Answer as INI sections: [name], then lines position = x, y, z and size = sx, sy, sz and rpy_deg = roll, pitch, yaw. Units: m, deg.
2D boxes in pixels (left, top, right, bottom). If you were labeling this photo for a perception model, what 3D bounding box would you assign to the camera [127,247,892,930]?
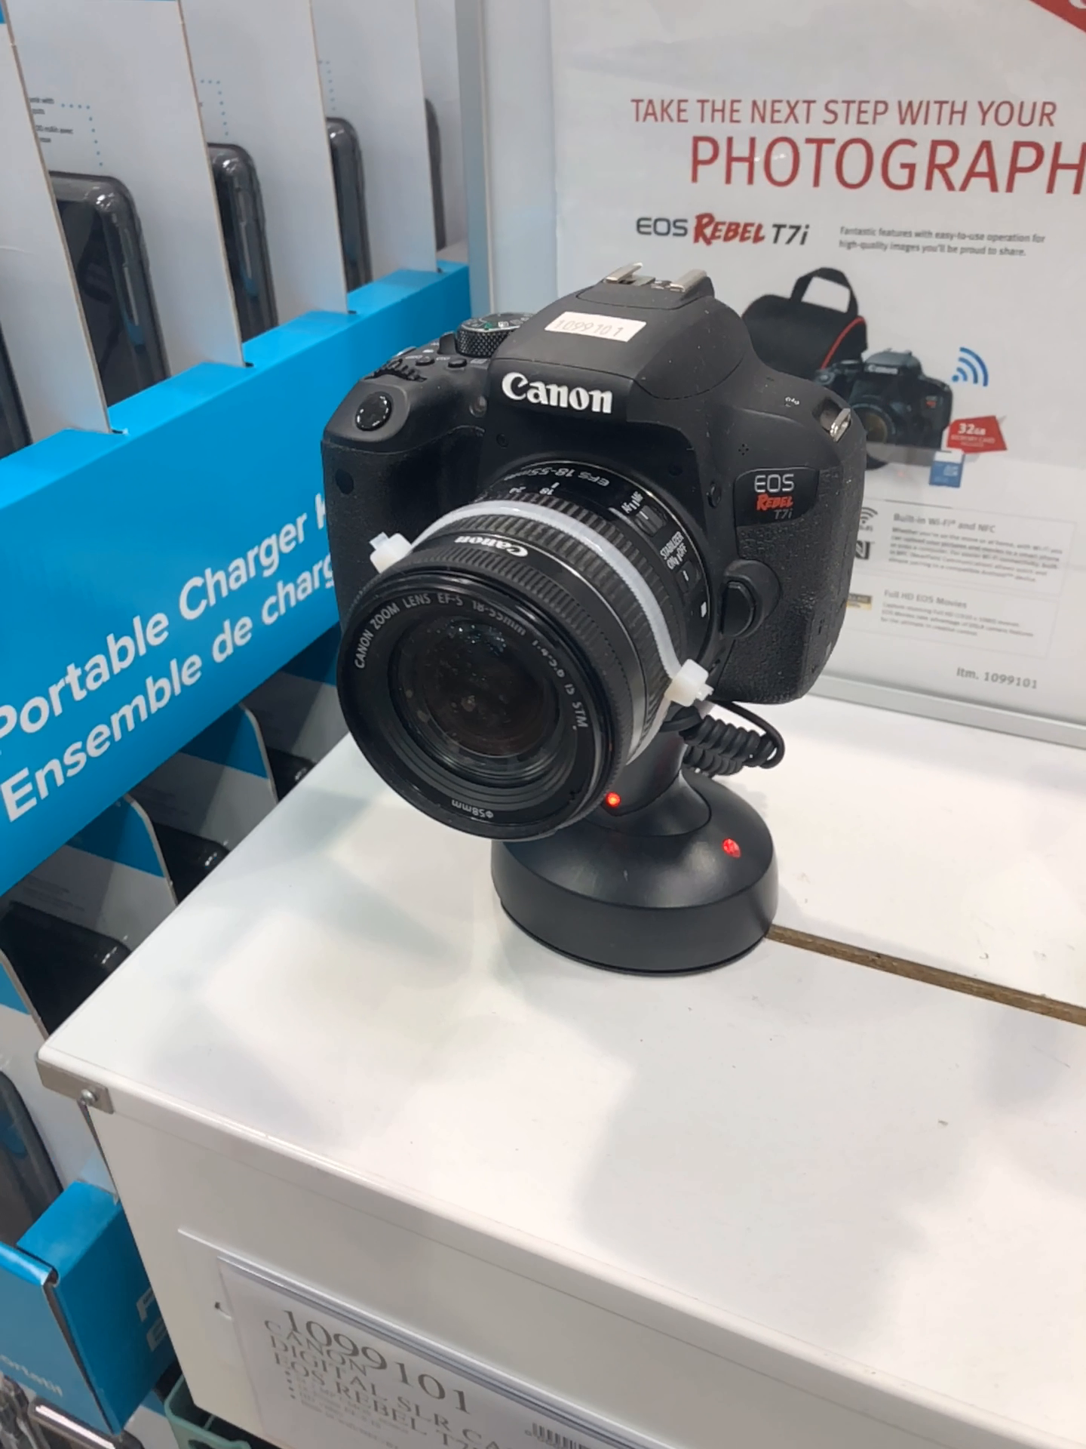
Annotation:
[camera]
position = 0.005, -0.049, 0.311
size = 0.130, 0.100, 0.150
rpy_deg = 12, 36, 19
